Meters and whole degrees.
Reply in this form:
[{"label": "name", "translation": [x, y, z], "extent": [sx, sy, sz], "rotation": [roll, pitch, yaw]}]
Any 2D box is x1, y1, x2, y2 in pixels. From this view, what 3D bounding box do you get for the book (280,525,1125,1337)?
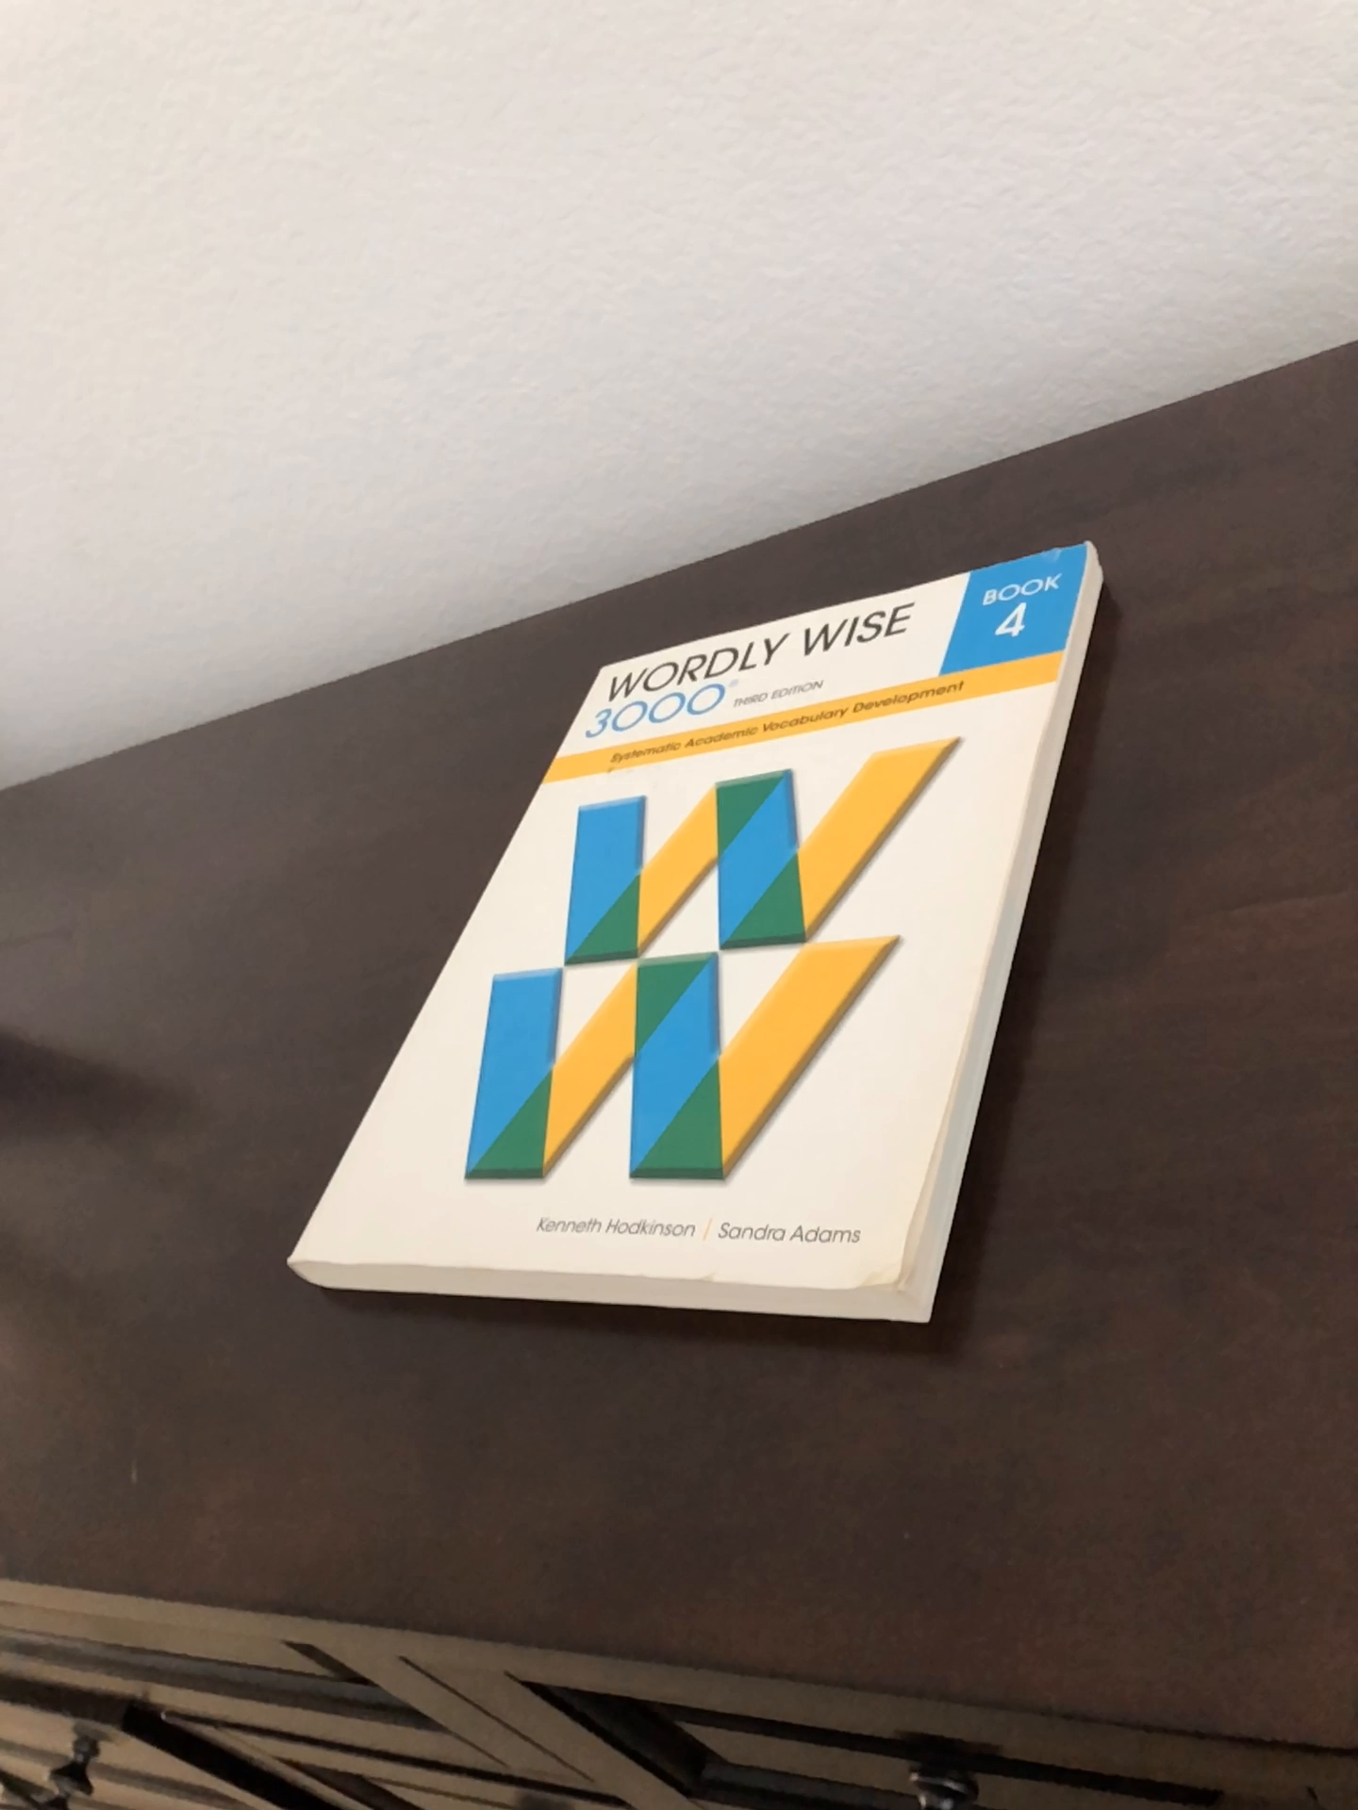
[{"label": "book", "translation": [0.013, -0.002, 0.478], "extent": [0.217, 0.020, 0.274], "rotation": [-7, 46, 36]}]
